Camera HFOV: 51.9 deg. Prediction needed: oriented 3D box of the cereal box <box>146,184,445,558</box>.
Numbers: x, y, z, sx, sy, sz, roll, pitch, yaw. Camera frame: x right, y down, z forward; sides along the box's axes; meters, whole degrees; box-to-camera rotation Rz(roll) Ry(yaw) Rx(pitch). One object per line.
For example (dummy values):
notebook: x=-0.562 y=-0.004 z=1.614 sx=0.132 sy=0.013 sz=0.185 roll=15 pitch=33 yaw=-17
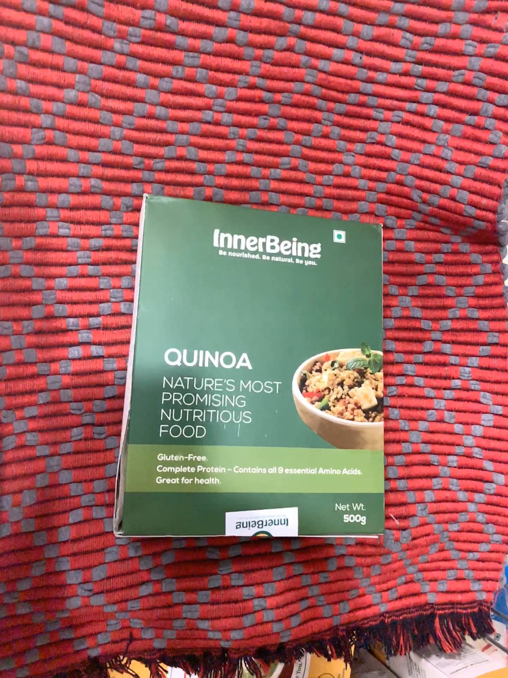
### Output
cereal box: x=0.024 y=0.019 z=0.285 sx=0.150 sy=0.040 sz=0.180 roll=4 pitch=82 yaw=-11
